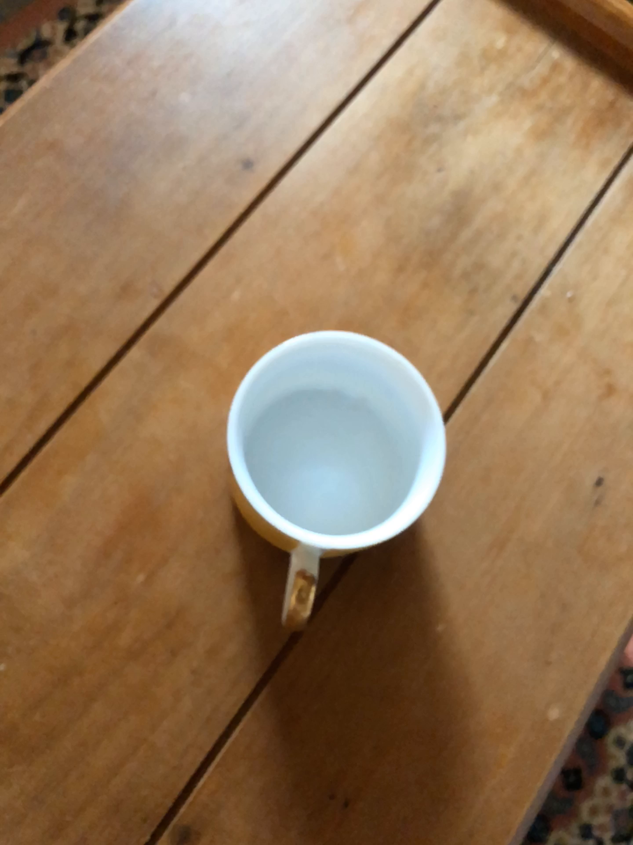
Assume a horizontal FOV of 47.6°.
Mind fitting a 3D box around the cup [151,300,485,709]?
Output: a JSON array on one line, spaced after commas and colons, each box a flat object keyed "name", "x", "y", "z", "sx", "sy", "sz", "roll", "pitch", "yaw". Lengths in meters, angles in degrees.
[{"name": "cup", "x": 0.001, "y": 0.024, "z": 0.199, "sx": 0.070, "sy": 0.050, "sz": 0.090, "roll": 10, "pitch": 74, "yaw": -5}]
